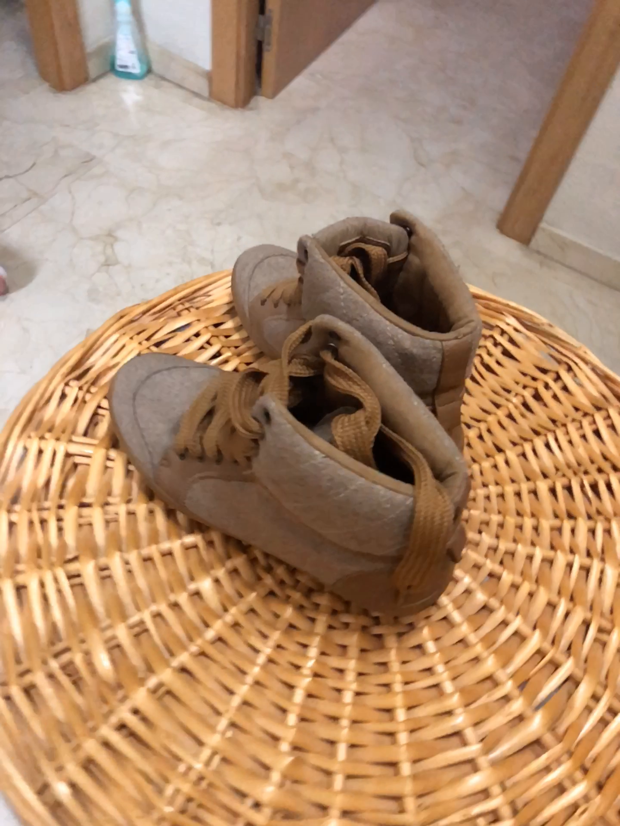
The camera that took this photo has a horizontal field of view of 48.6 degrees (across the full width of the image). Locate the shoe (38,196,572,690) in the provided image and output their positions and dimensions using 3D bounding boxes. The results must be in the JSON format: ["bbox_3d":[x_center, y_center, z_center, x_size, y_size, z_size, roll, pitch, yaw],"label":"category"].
[{"bbox_3d":[-0.014,0.022,0.388,0.238,0.168,0.096,33,58,14],"label":"shoe"}]

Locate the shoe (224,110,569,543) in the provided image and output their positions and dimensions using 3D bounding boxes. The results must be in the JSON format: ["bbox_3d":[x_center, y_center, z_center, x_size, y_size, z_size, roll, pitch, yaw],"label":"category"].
[{"bbox_3d":[0.034,-0.059,0.485,0.079,0.178,0.238,-26,63,-23],"label":"shoe"}]
